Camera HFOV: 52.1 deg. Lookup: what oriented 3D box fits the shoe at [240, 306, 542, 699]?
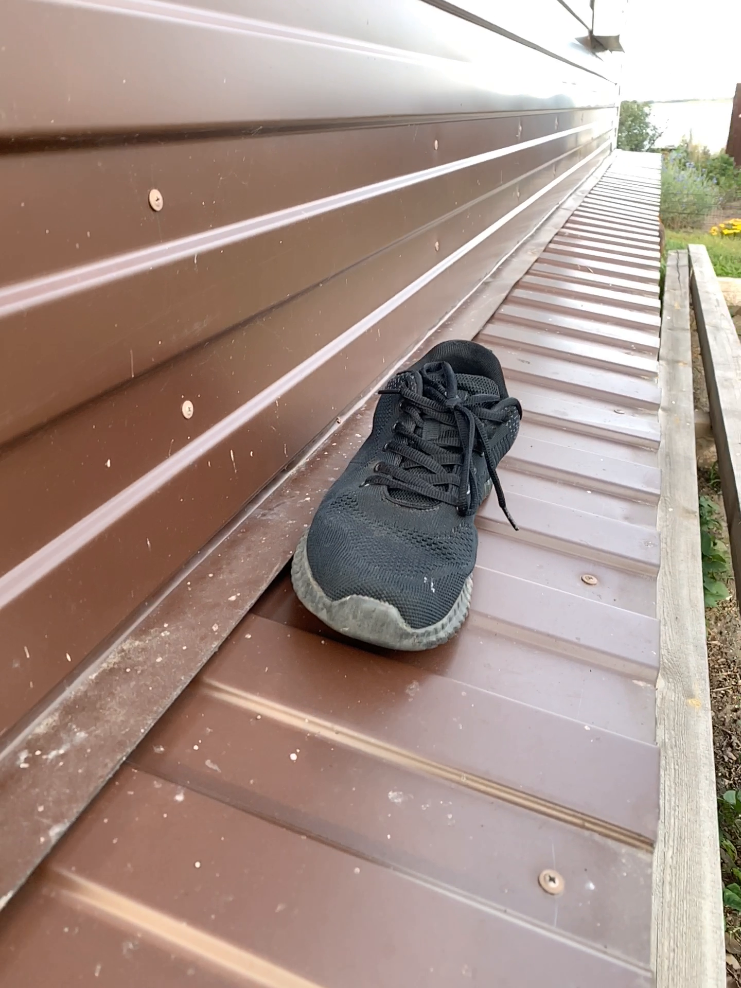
[{"bbox_3d":[0.033,-0.024,0.512,0.120,0.119,0.302,15,28,9],"label":"shoe"}]
